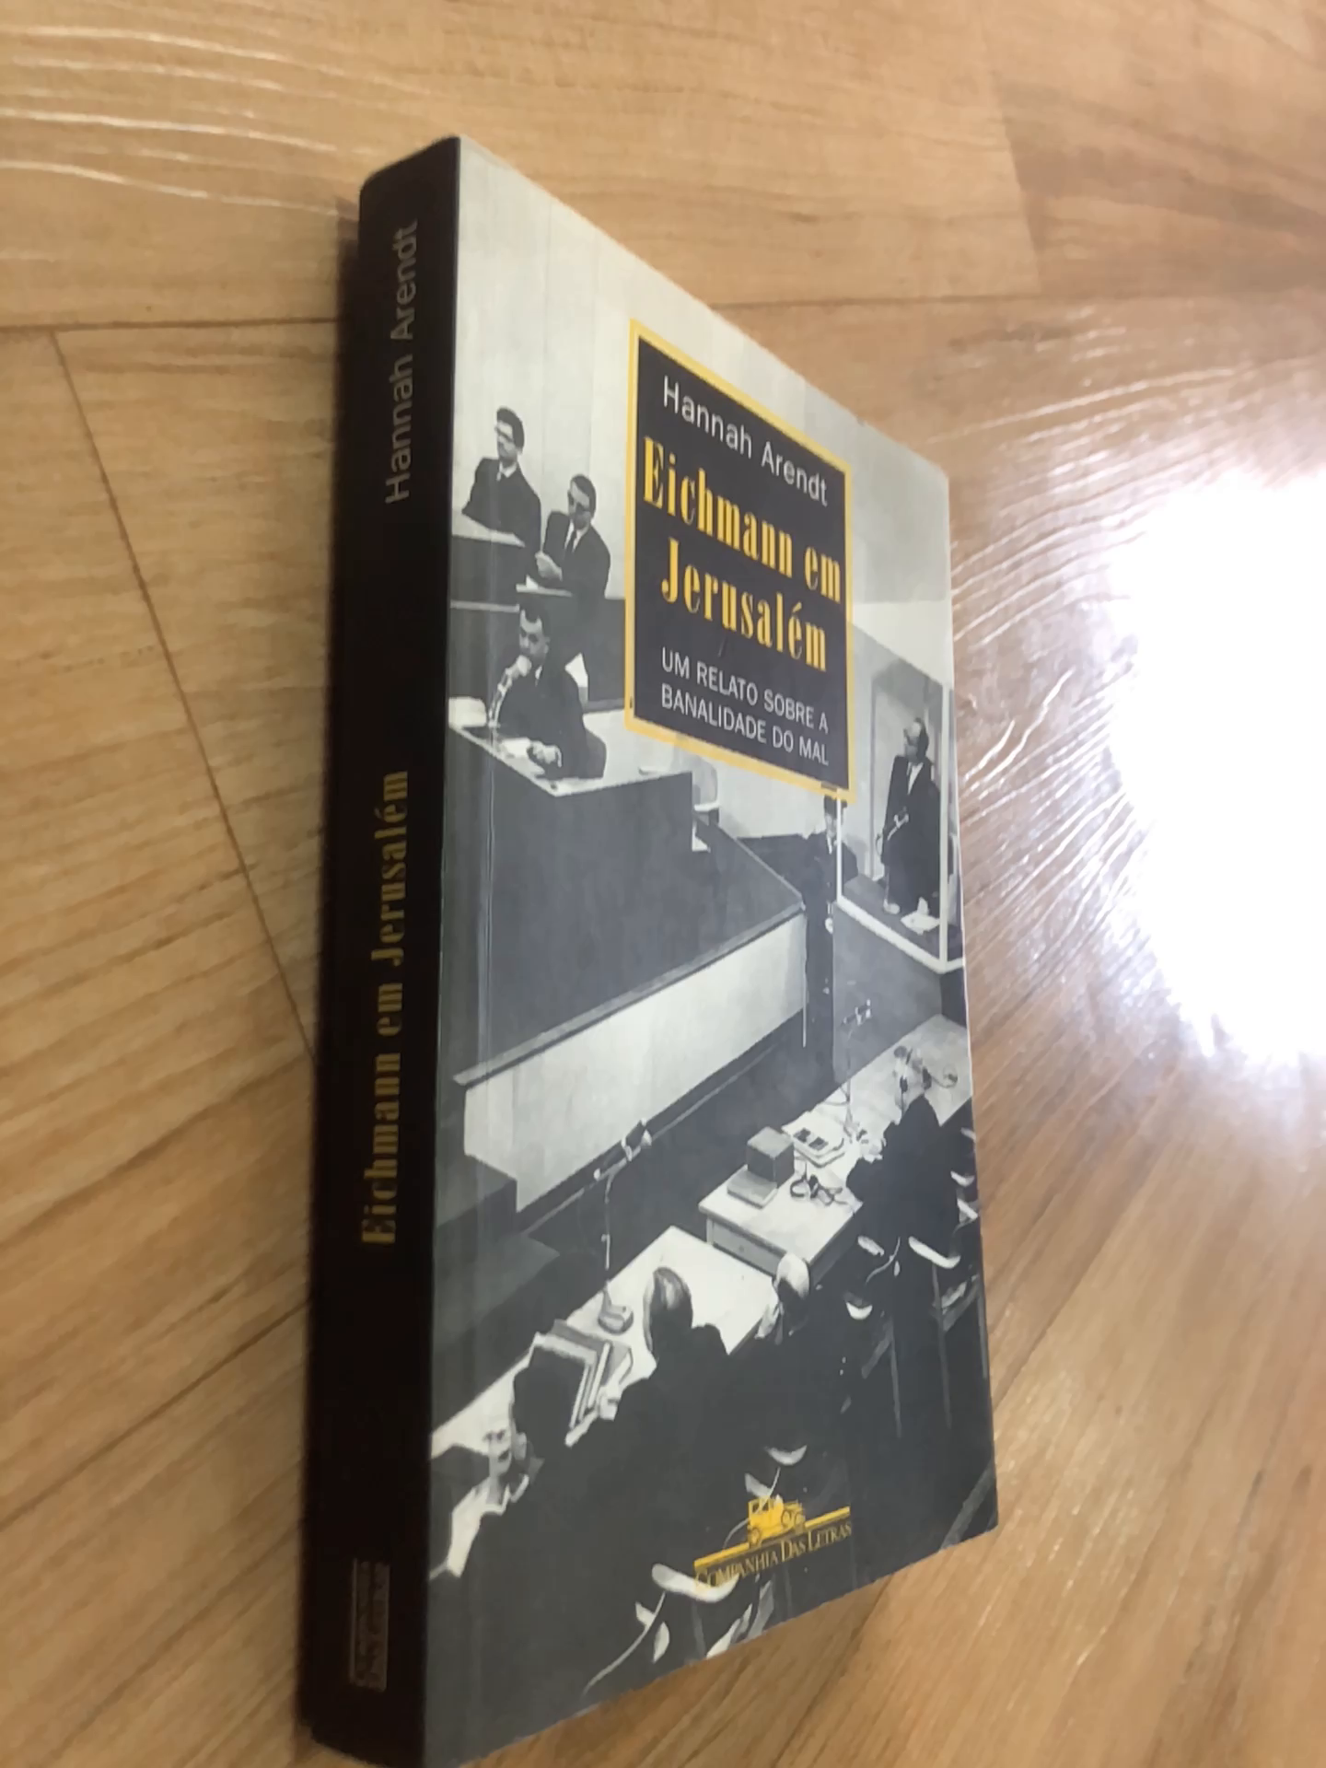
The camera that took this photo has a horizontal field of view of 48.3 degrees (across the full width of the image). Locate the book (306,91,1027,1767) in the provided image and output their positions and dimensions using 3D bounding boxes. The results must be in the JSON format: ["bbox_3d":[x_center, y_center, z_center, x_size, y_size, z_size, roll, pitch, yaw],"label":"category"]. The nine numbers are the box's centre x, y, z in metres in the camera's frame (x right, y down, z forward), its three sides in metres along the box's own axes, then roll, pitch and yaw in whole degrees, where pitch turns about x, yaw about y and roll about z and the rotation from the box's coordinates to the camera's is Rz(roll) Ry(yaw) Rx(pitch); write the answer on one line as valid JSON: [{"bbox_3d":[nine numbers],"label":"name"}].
[{"bbox_3d":[0.011,0.008,0.236,0.145,0.023,0.202,12,74,-51],"label":"book"}]
